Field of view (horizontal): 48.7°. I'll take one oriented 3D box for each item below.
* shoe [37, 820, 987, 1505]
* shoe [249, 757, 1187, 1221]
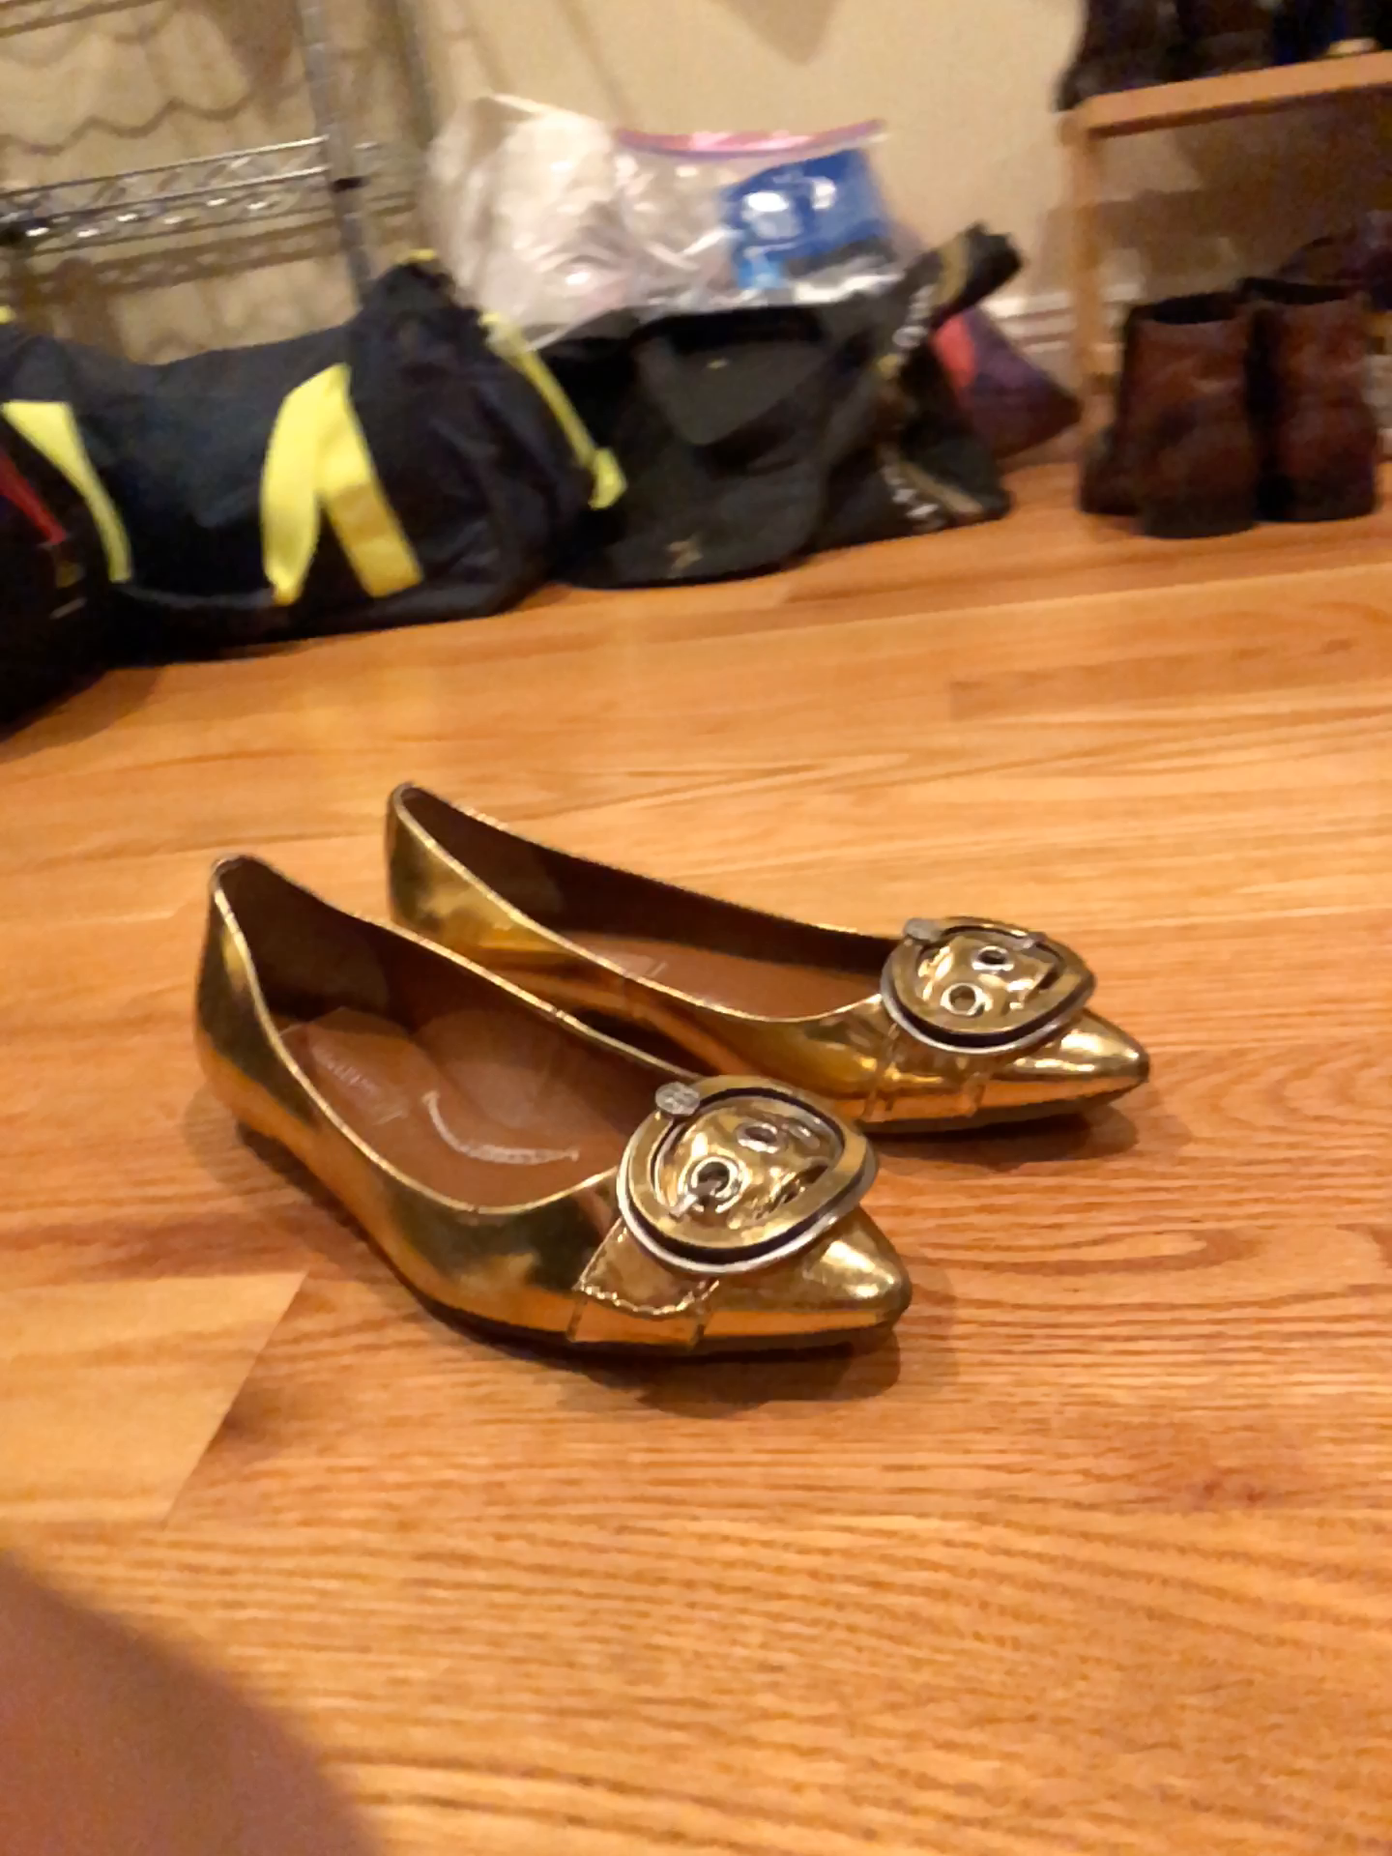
[{"bbox_3d":[-0.059,0.034,0.367,0.249,0.066,0.077,14,31,43],"label":"shoe"},{"bbox_3d":[-0.001,0.004,0.420,0.244,0.066,0.083,8,27,34],"label":"shoe"}]
